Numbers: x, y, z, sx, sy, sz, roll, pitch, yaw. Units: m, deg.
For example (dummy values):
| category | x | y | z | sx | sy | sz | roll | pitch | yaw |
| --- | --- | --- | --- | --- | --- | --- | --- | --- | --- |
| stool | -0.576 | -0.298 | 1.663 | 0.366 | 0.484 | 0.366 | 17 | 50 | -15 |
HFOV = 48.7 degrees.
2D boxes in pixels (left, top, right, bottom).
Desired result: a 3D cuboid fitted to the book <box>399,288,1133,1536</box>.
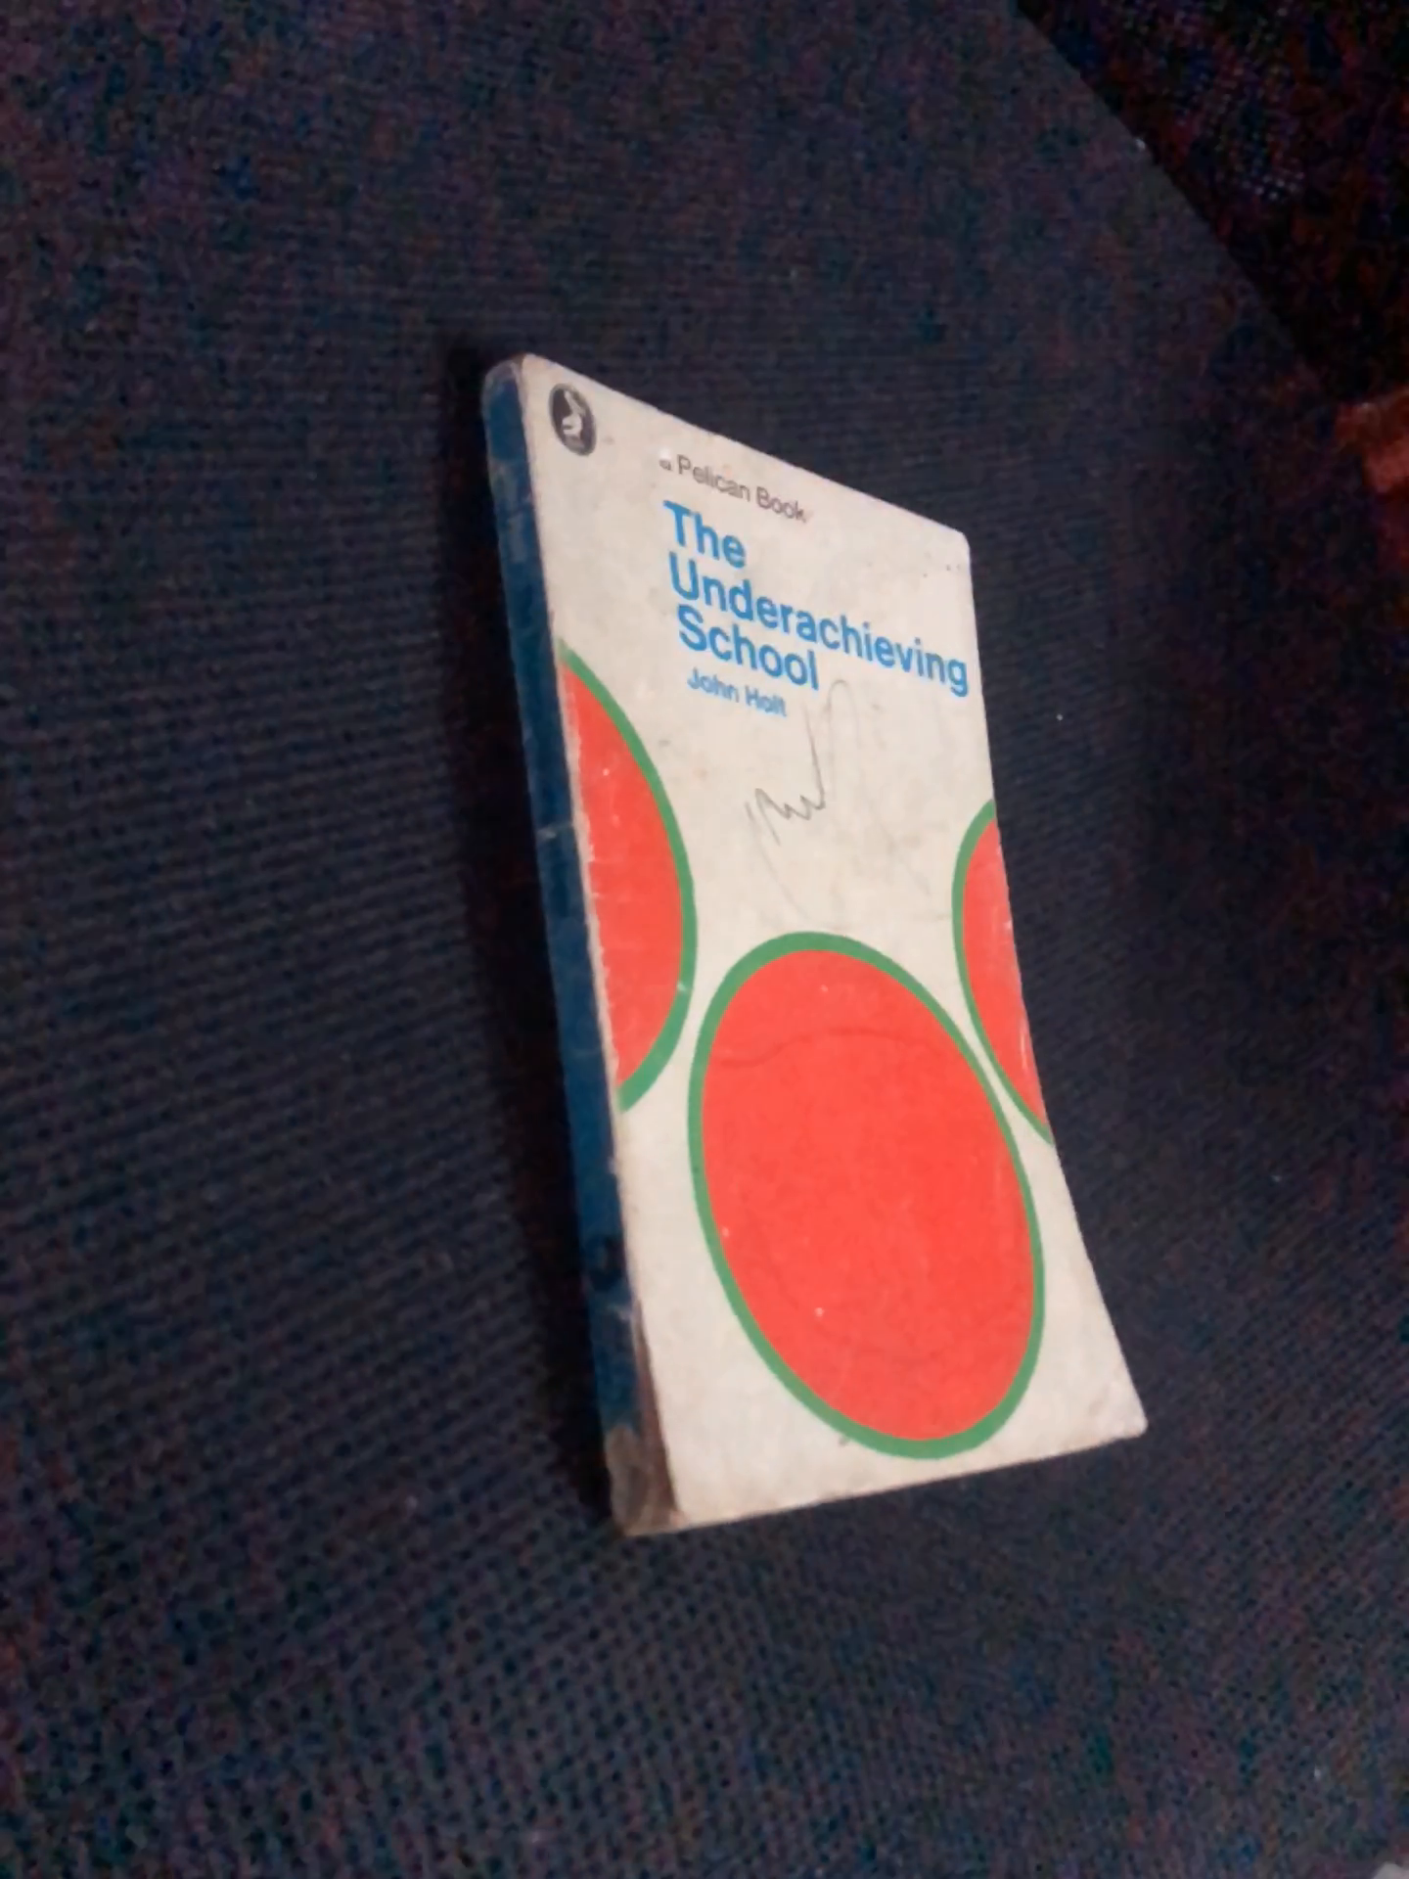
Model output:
| category | x | y | z | sx | sy | sz | roll | pitch | yaw |
| --- | --- | --- | --- | --- | --- | --- | --- | --- | --- |
| book | 0.012 | -0.005 | 0.263 | 0.121 | 0.020 | 0.182 | 8 | 67 | -43 |
